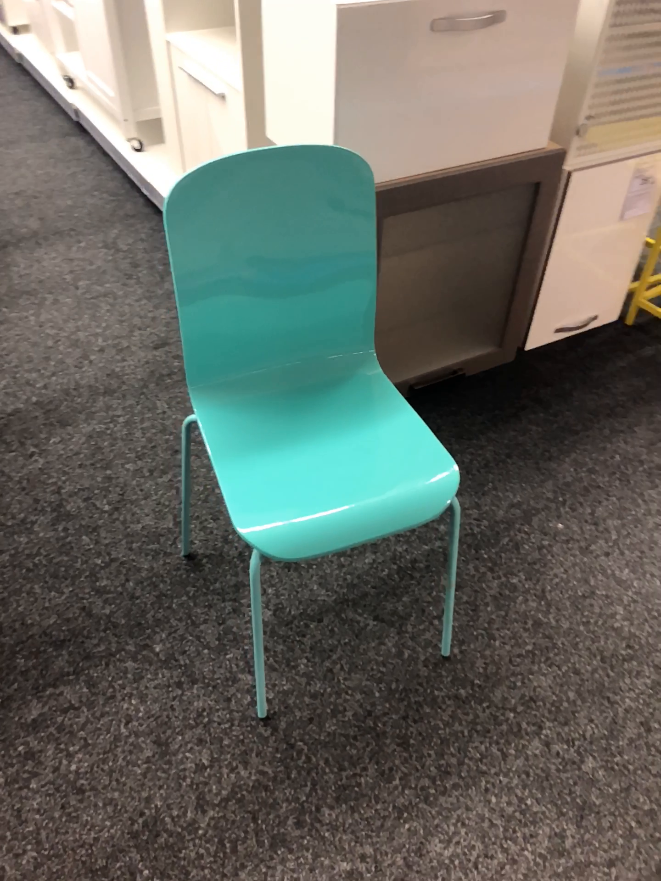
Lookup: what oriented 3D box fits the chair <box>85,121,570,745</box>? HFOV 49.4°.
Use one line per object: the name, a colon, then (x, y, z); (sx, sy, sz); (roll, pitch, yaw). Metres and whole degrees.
chair: (-0.047, 0.009, 1.235); (0.491, 0.865, 0.502); (-14, 45, -16)
